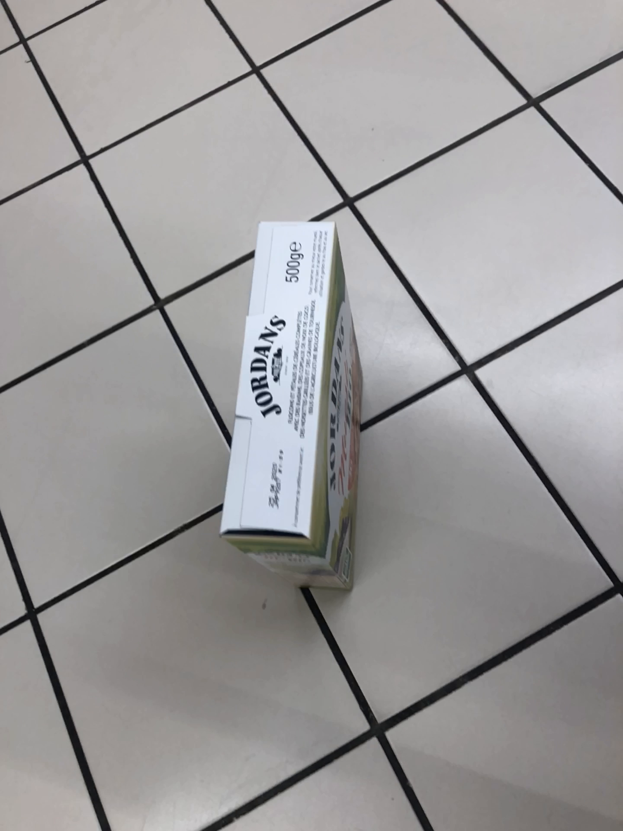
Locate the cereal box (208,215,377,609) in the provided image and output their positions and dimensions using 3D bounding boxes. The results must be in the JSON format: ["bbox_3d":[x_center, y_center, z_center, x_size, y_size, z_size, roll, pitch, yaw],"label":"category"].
[{"bbox_3d":[0.003,0.016,0.445,0.060,0.210,0.191,1,69,9],"label":"cereal box"}]
